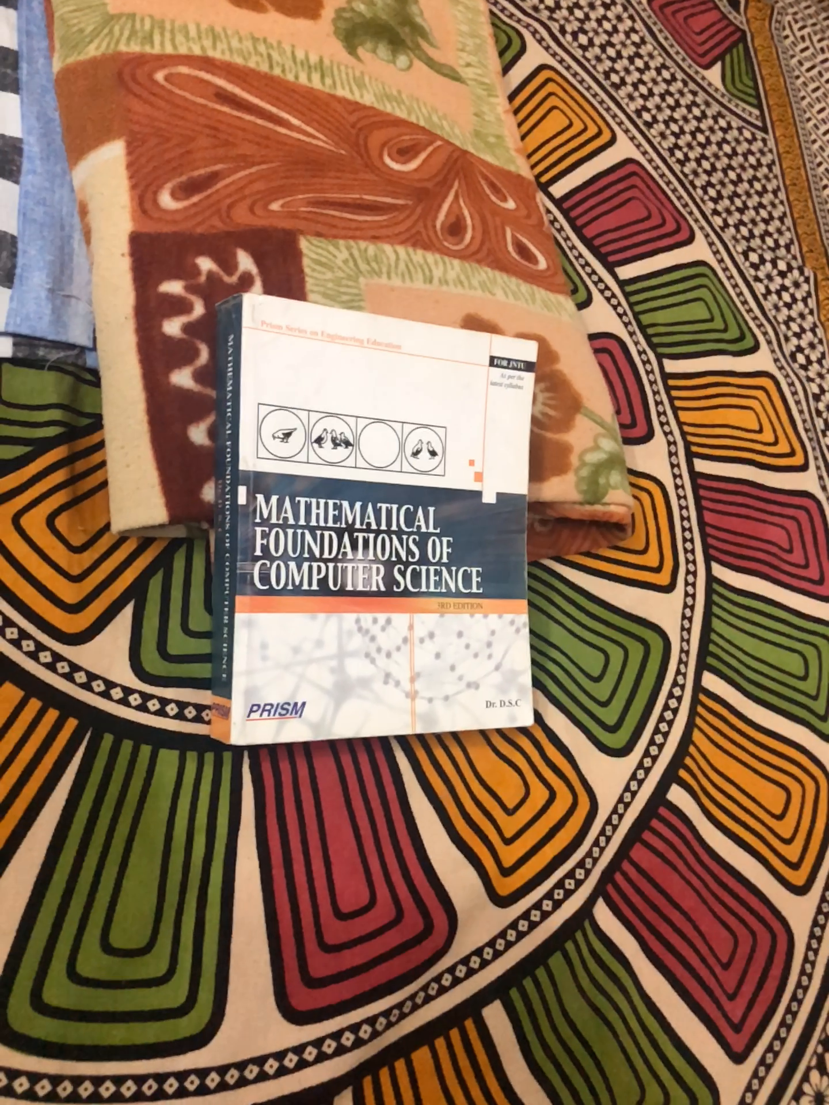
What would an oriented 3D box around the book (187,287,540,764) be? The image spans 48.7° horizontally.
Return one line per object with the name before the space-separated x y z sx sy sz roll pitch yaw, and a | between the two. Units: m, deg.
book | -0.023 -0.011 0.509 0.191 0.050 0.230 2 89 -30
